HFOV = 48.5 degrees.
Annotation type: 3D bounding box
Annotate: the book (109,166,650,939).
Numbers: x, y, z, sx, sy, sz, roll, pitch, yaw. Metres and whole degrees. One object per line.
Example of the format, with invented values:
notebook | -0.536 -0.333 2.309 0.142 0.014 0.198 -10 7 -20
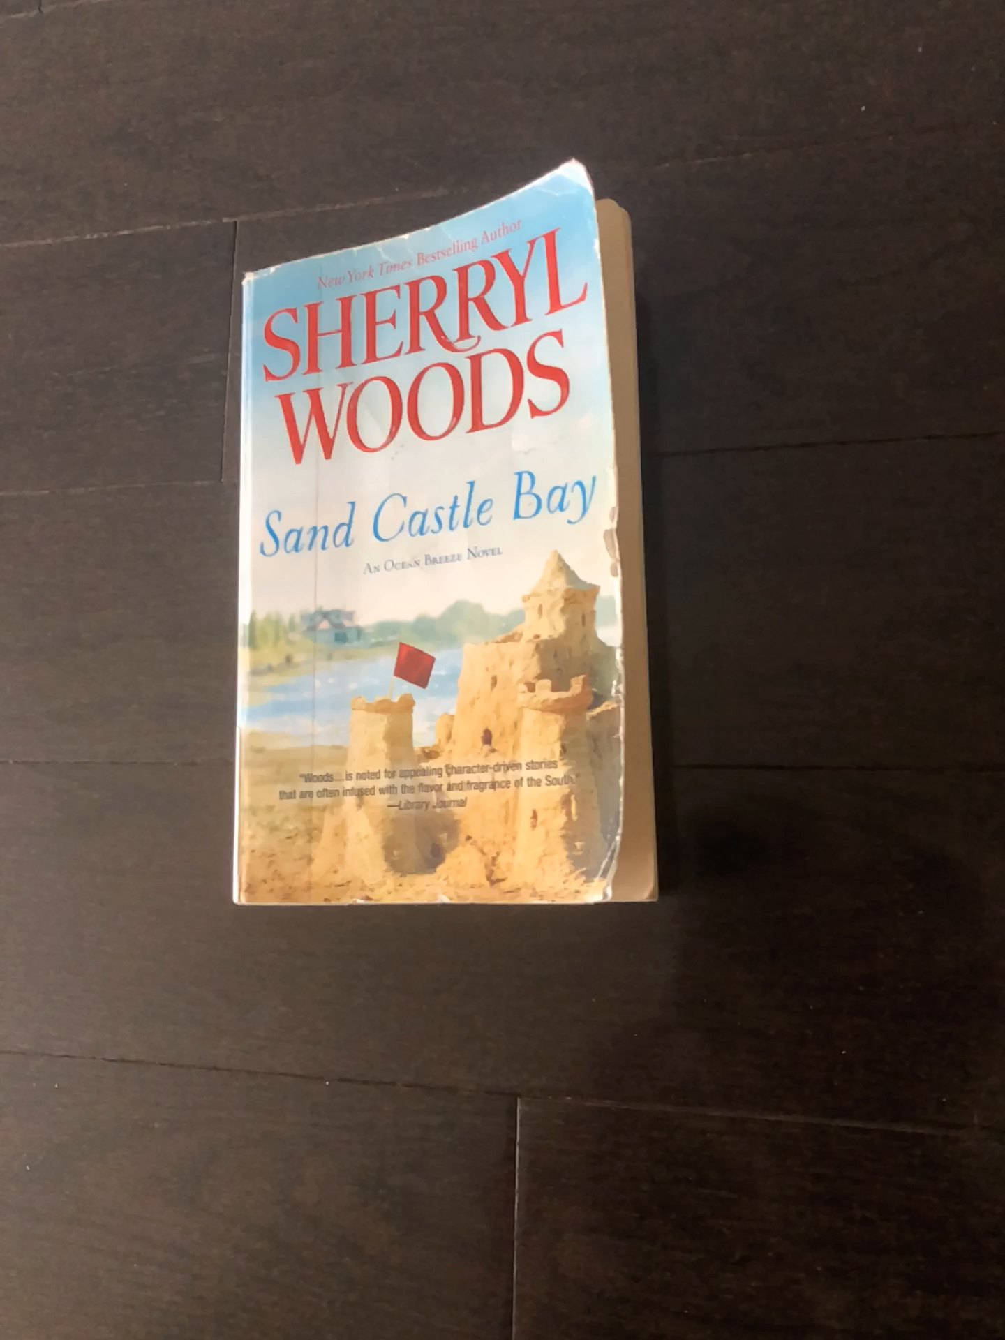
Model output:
book | -0.031 -0.022 0.265 0.119 0.037 0.161 -3 84 18
